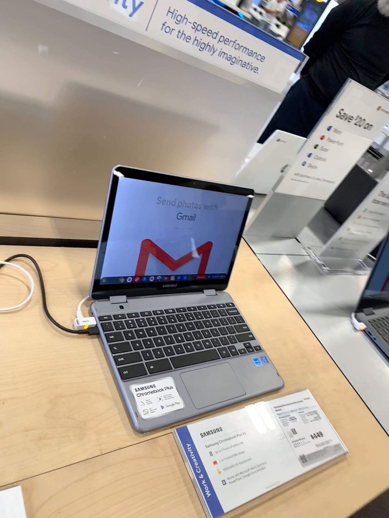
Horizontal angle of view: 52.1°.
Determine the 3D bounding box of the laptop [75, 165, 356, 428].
[{"bbox_3d":[0.019,0.041,0.593,0.275,0.183,0.275,0,46,-40],"label":"laptop"}]
